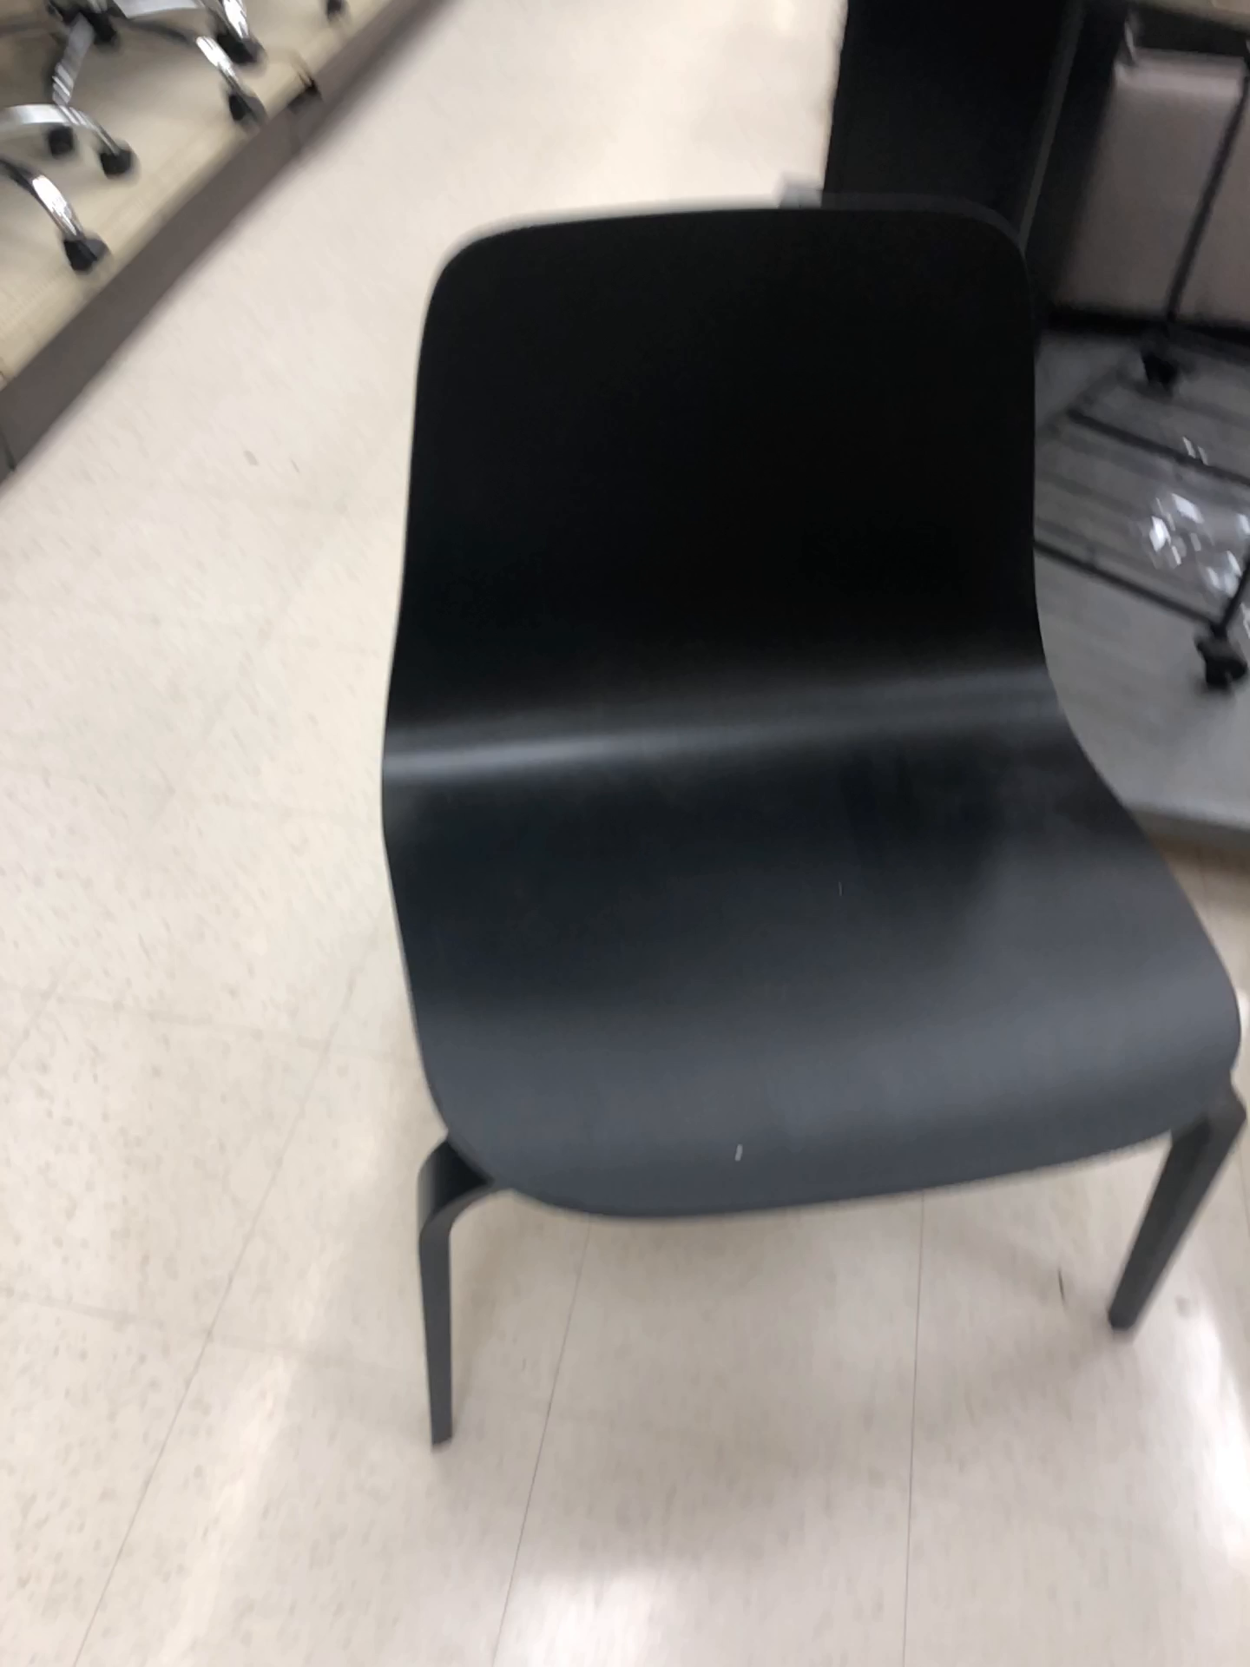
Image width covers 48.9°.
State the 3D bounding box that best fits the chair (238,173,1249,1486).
[{"bbox_3d":[0.105,0.000,1.055,0.640,0.717,0.632,-5,47,-7],"label":"chair"}]
